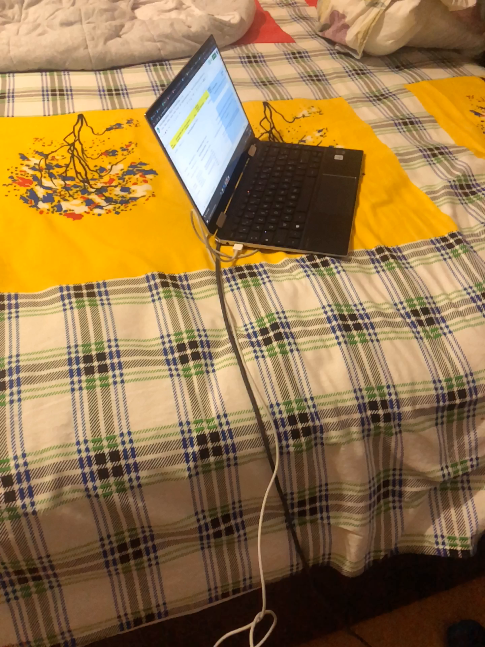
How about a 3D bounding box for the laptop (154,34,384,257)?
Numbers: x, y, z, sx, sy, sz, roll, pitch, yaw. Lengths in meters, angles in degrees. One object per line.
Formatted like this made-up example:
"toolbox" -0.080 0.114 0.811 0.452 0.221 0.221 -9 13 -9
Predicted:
"laptop" 0.048 -0.264 0.757 0.253 0.158 0.276 11 48 10
